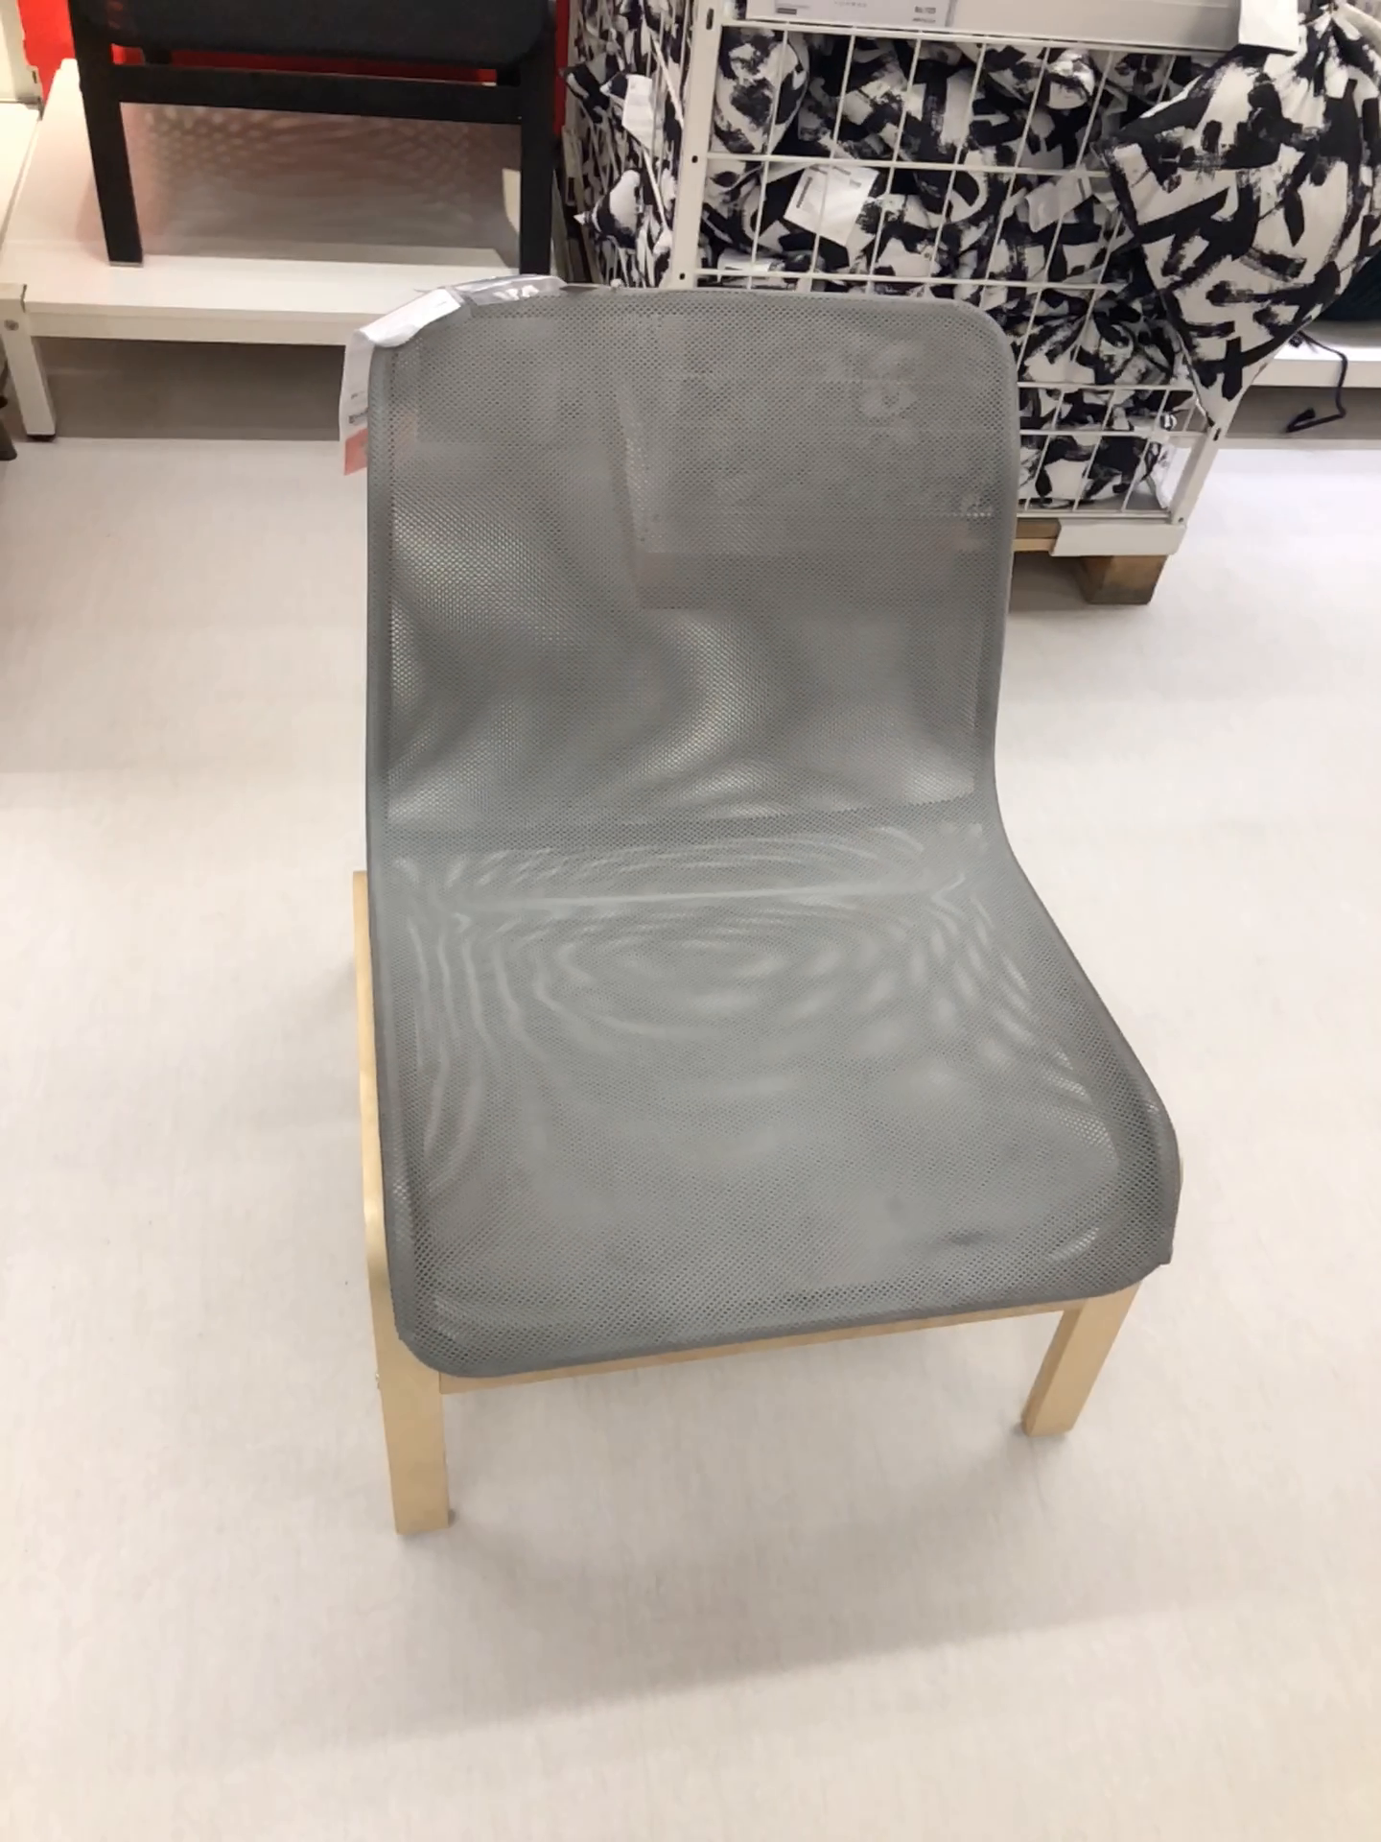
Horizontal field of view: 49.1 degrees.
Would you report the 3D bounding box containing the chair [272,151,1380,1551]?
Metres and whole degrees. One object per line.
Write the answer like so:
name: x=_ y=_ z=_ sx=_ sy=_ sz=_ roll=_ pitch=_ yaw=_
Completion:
chair: x=0.043 y=-0.023 z=1.181 sx=0.630 sy=0.825 sz=0.644 roll=-4 pitch=50 yaw=-12
